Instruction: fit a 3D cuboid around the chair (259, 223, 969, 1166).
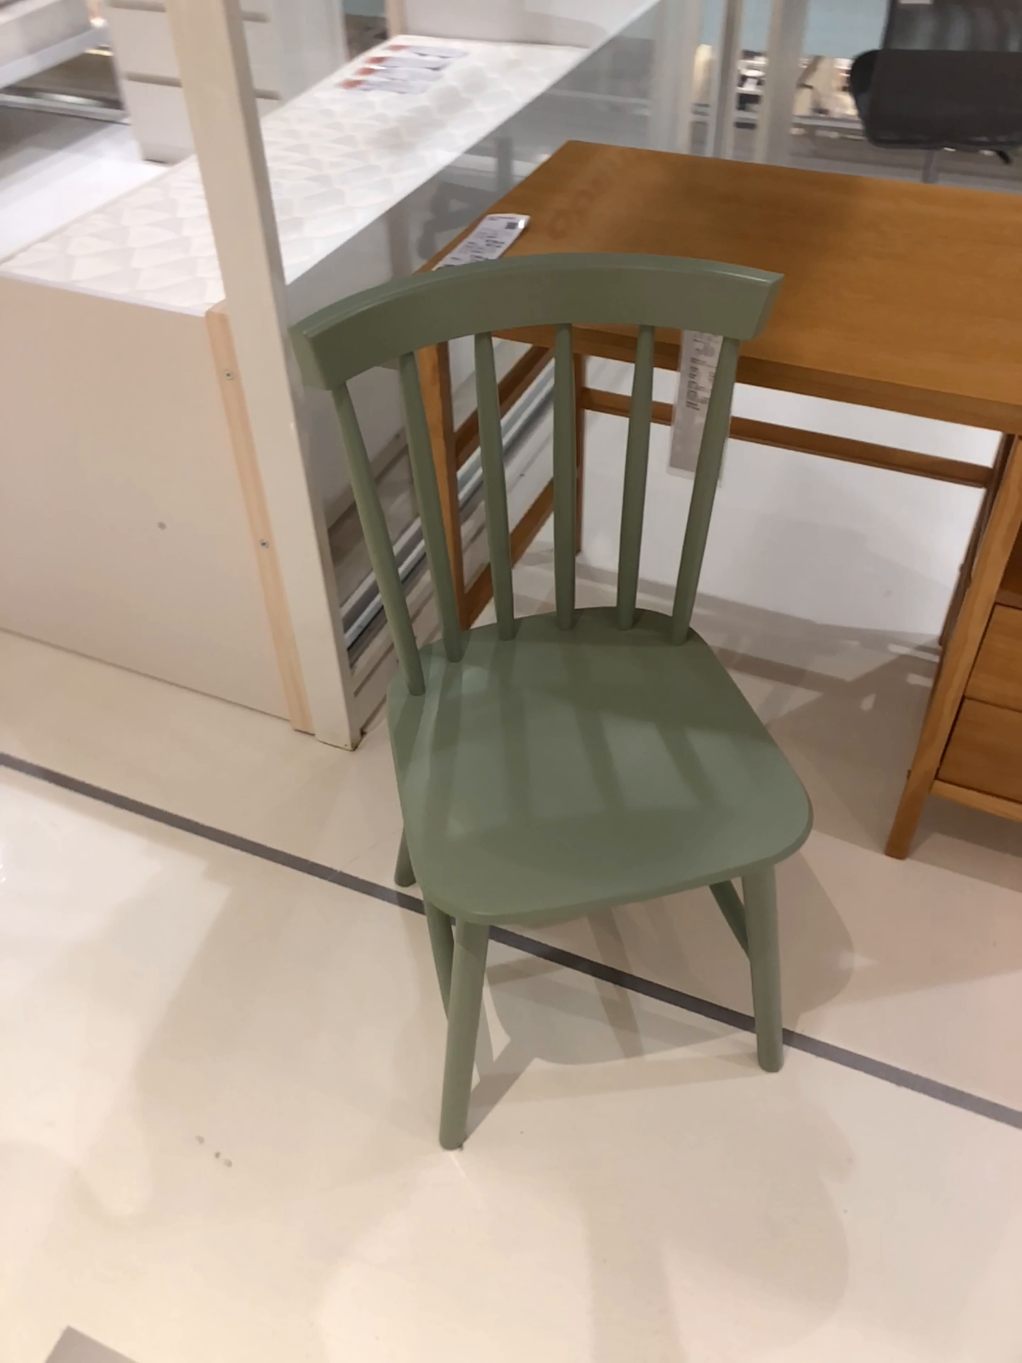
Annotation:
[{"bbox_3d":[0.052,0.048,1.181,0.450,0.834,0.463,-11,44,-9],"label":"chair"}]
